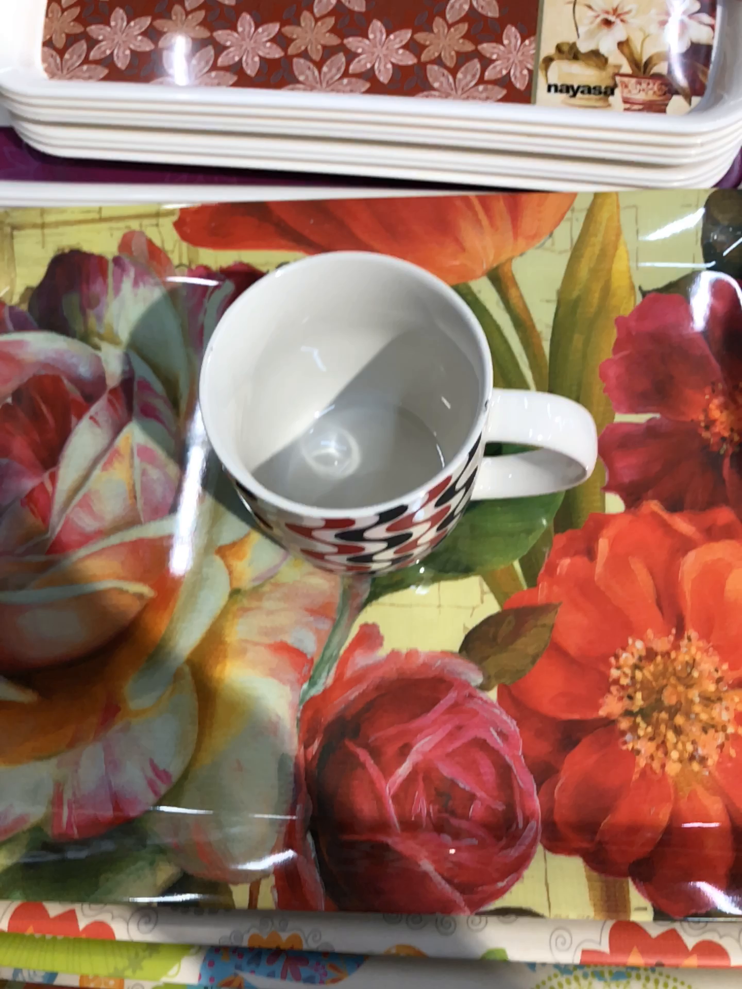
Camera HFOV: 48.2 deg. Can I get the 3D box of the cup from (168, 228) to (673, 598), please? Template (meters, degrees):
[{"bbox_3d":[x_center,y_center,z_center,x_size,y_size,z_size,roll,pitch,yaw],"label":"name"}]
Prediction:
[{"bbox_3d":[0.015,-0.023,0.268,0.130,0.080,0.090,1,67,2],"label":"cup"}]
